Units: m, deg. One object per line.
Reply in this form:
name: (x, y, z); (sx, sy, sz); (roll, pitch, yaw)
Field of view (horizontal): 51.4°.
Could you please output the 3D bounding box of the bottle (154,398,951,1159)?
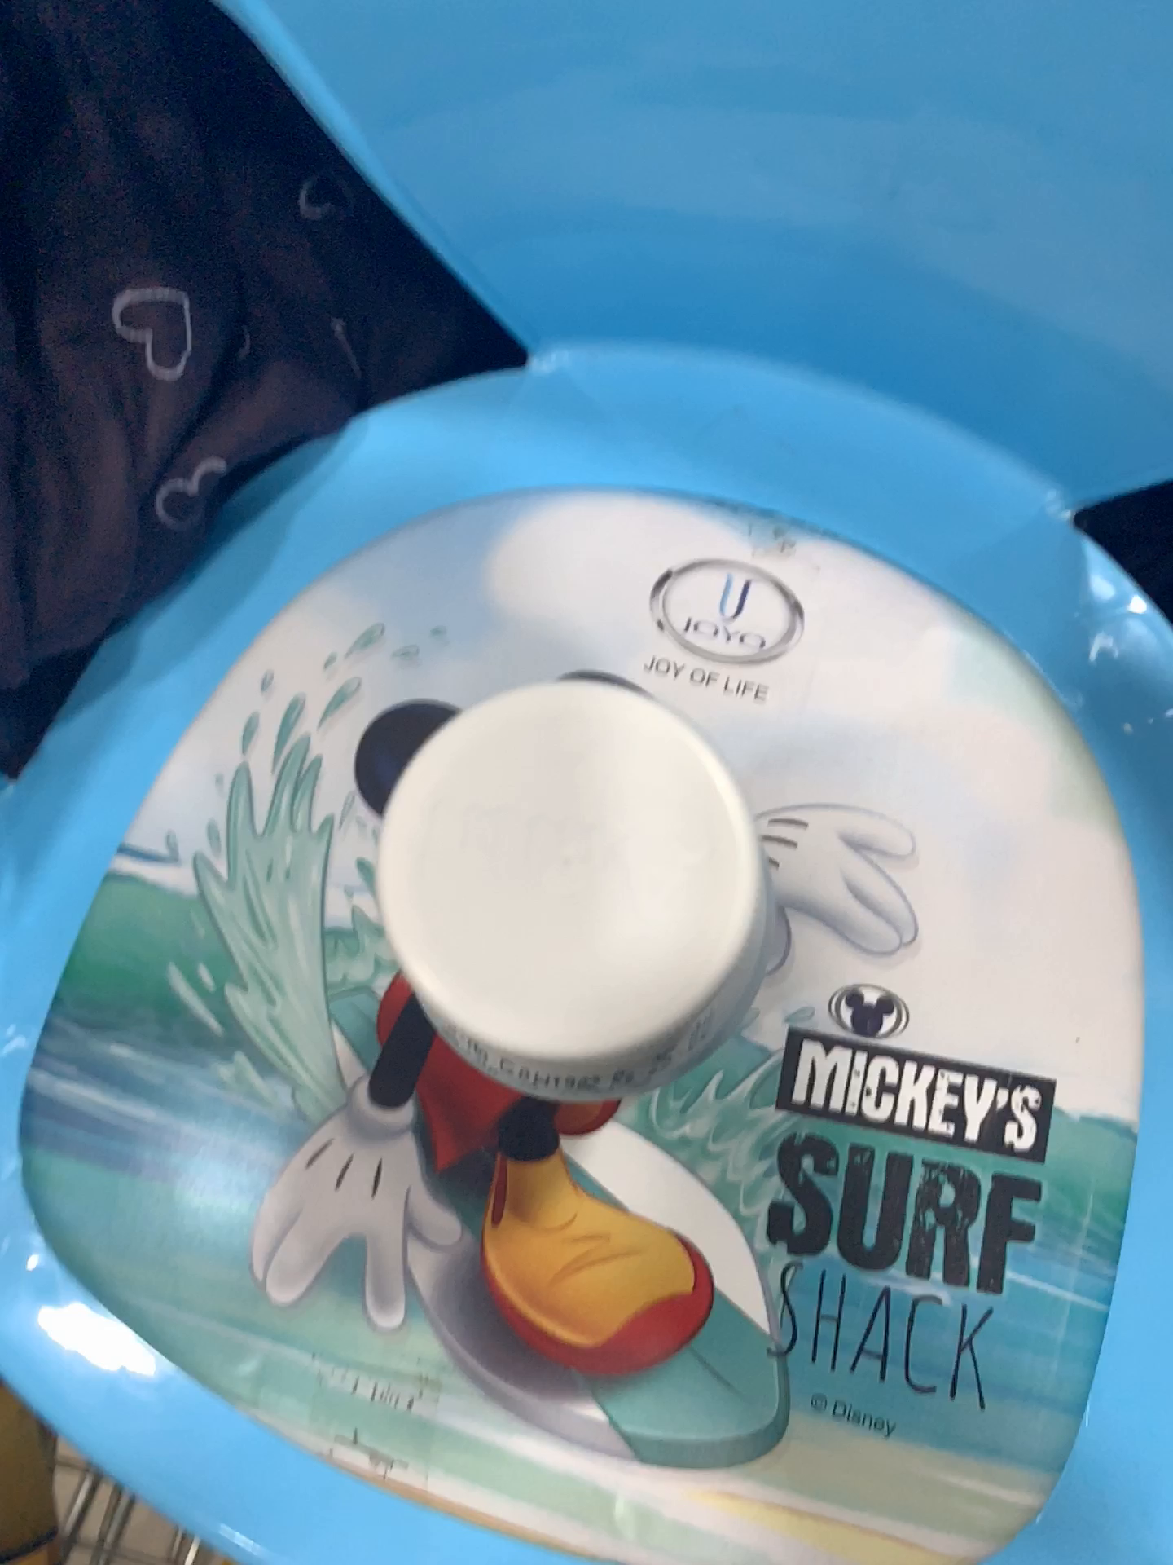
bottle: (0.000, 0.014, 0.185); (0.060, 0.130, 0.060); (-1, 74, 2)
